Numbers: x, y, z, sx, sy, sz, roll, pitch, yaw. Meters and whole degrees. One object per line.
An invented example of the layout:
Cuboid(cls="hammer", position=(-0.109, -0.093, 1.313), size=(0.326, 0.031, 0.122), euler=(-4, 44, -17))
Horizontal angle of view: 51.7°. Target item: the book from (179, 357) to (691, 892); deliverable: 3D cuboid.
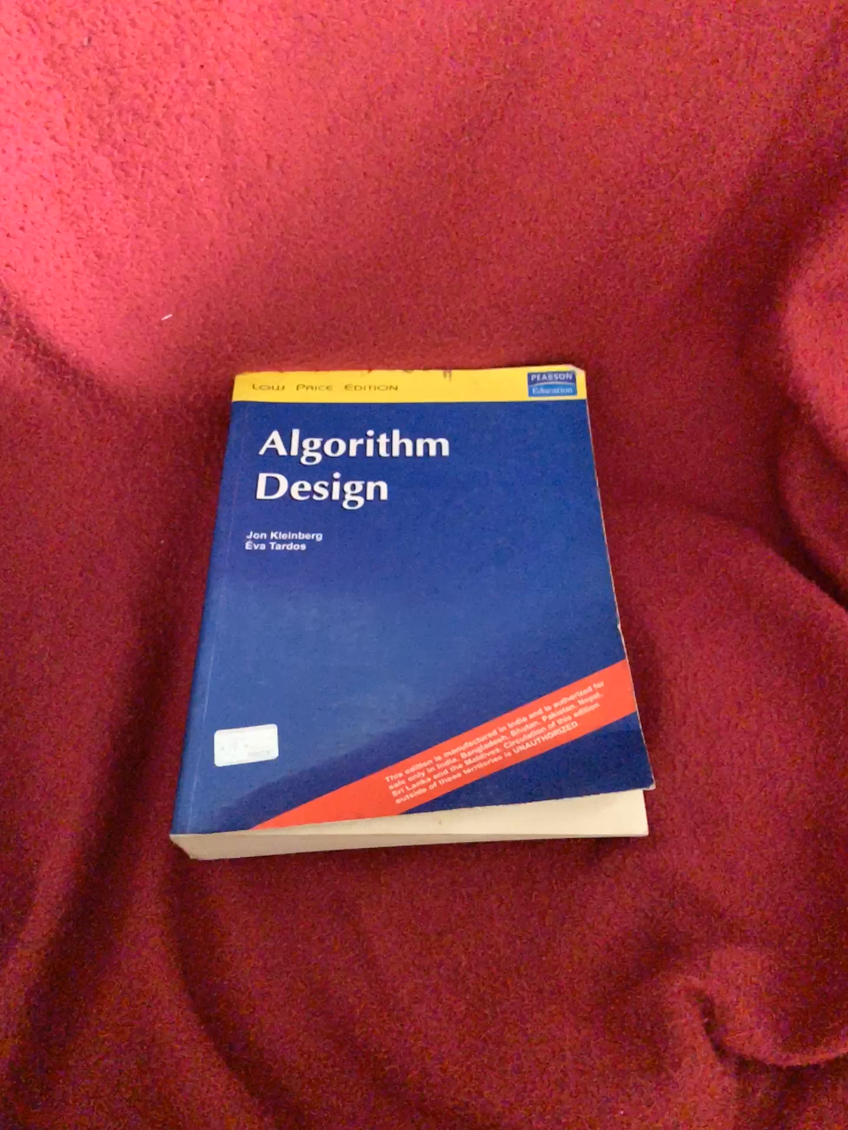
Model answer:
Cuboid(cls="book", position=(0.000, 0.015, 0.415), size=(0.190, 0.060, 0.251), euler=(-1, 58, -3))
